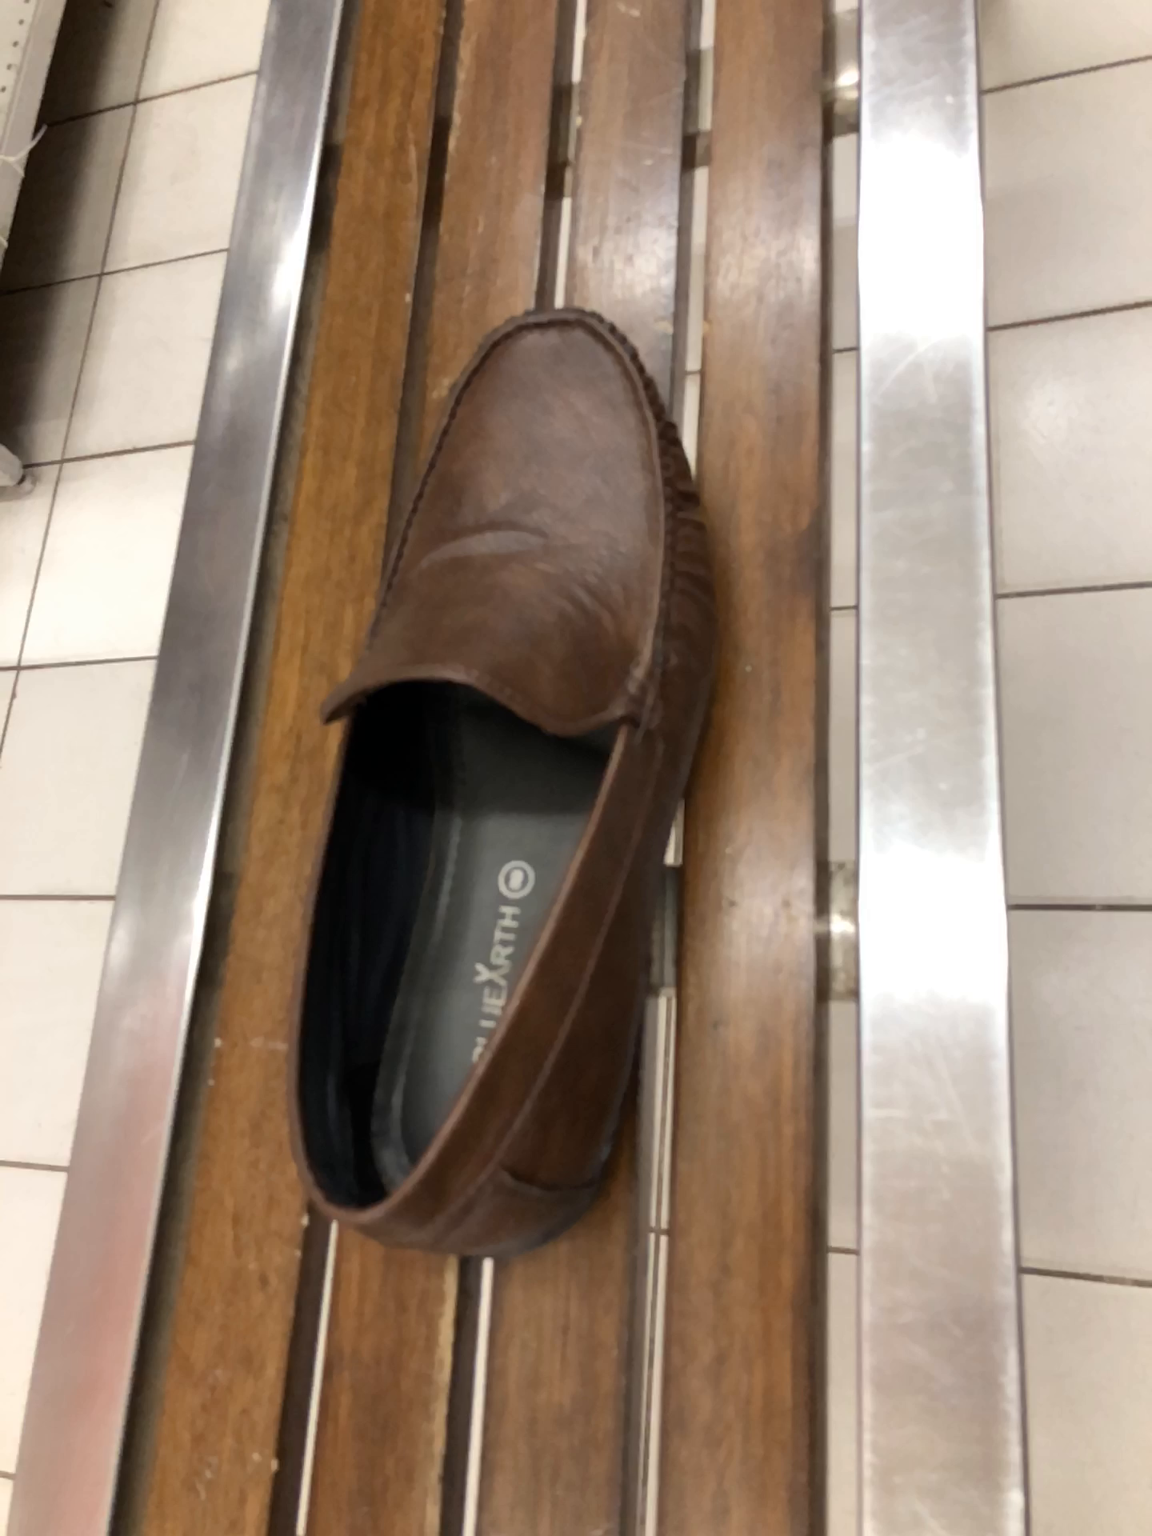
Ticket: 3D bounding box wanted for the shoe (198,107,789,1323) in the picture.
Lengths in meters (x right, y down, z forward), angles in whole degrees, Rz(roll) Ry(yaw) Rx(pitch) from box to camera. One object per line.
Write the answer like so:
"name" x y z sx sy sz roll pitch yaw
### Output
"shoe" -0.008 -0.019 0.356 0.104 0.094 0.301 -1 73 22
